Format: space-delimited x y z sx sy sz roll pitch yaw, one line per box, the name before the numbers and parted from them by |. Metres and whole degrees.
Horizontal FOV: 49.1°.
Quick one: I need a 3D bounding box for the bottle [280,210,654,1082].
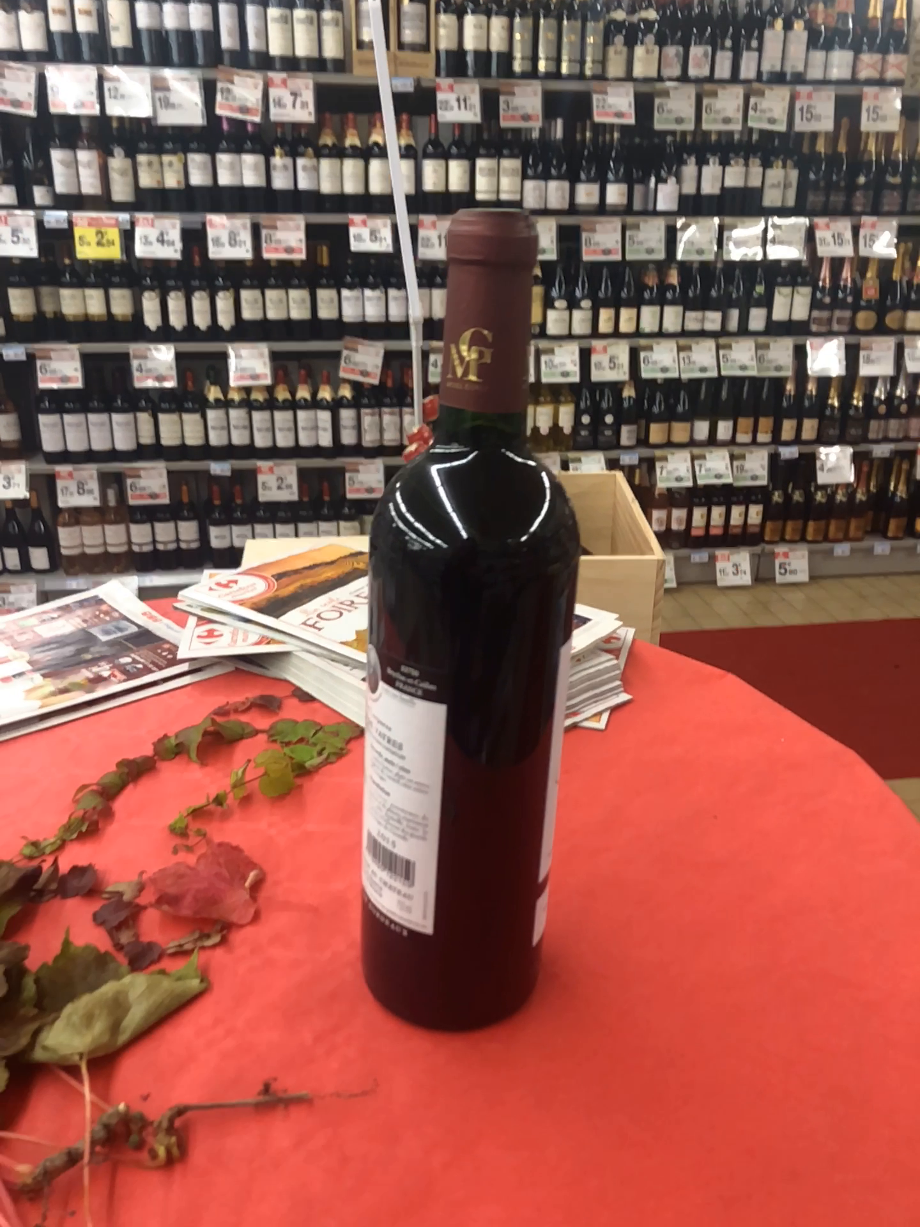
bottle | -0.003 0.012 0.372 0.090 0.298 0.090 0 22 0
